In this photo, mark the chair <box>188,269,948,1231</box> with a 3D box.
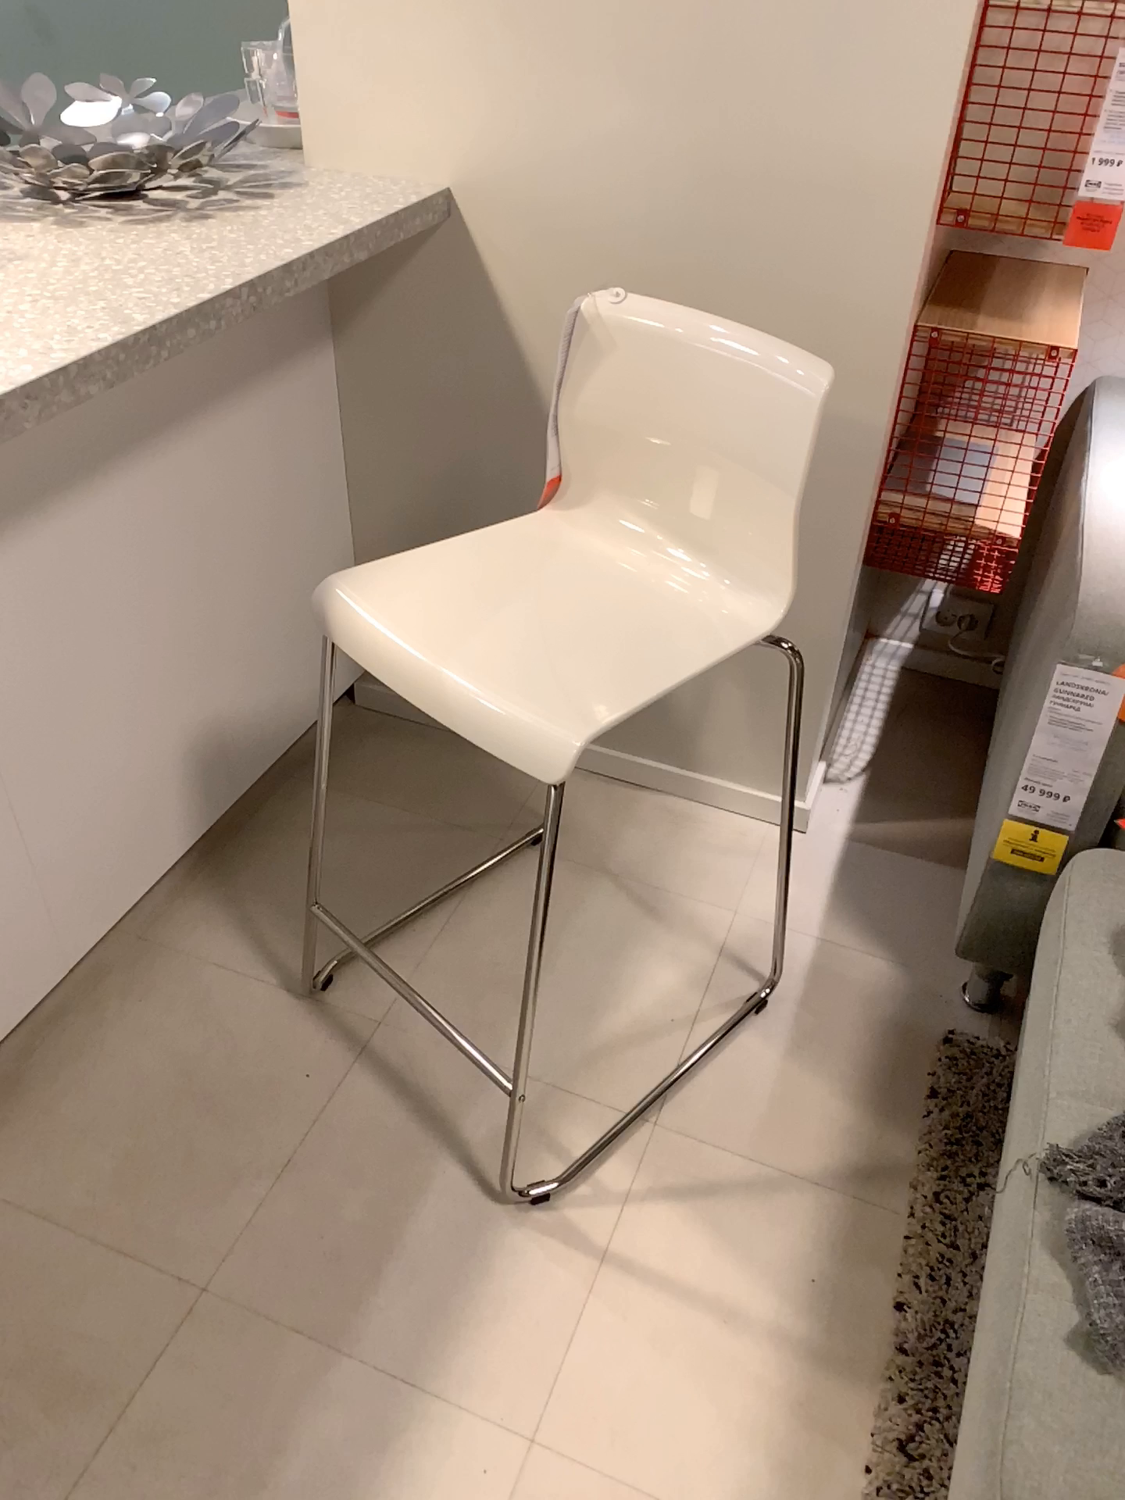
[{"bbox_3d":[-0.009,-0.007,1.399,0.542,0.905,0.511,-28,47,-33],"label":"chair"}]
